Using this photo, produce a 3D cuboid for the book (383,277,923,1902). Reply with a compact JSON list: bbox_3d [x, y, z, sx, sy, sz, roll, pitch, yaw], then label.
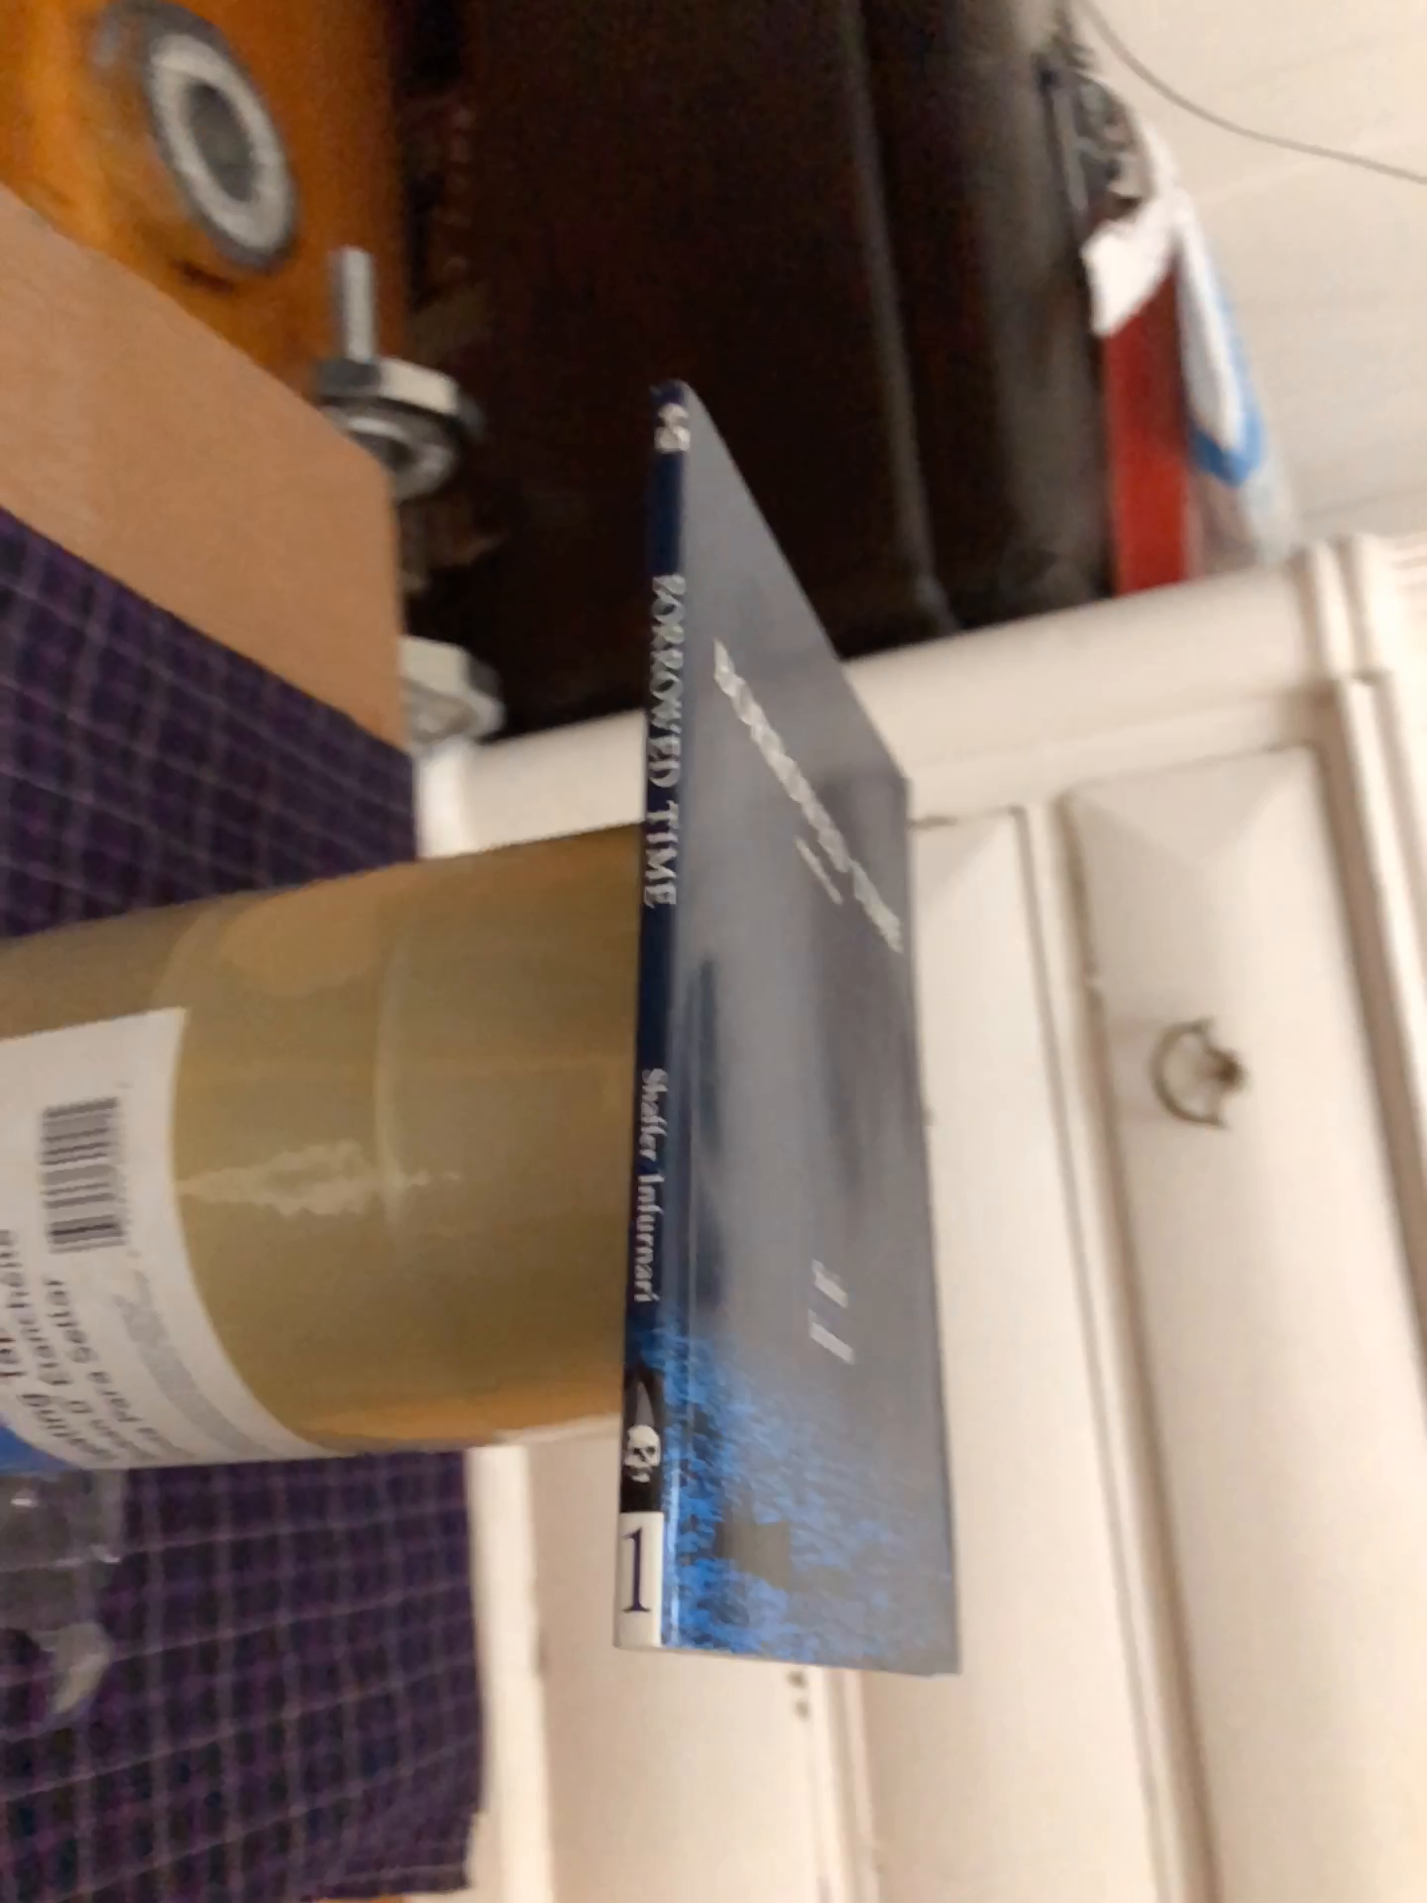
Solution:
[{"bbox_3d":[0.000,0.028,0.272,0.160,0.010,0.230,49,34,-55],"label":"book"}]
